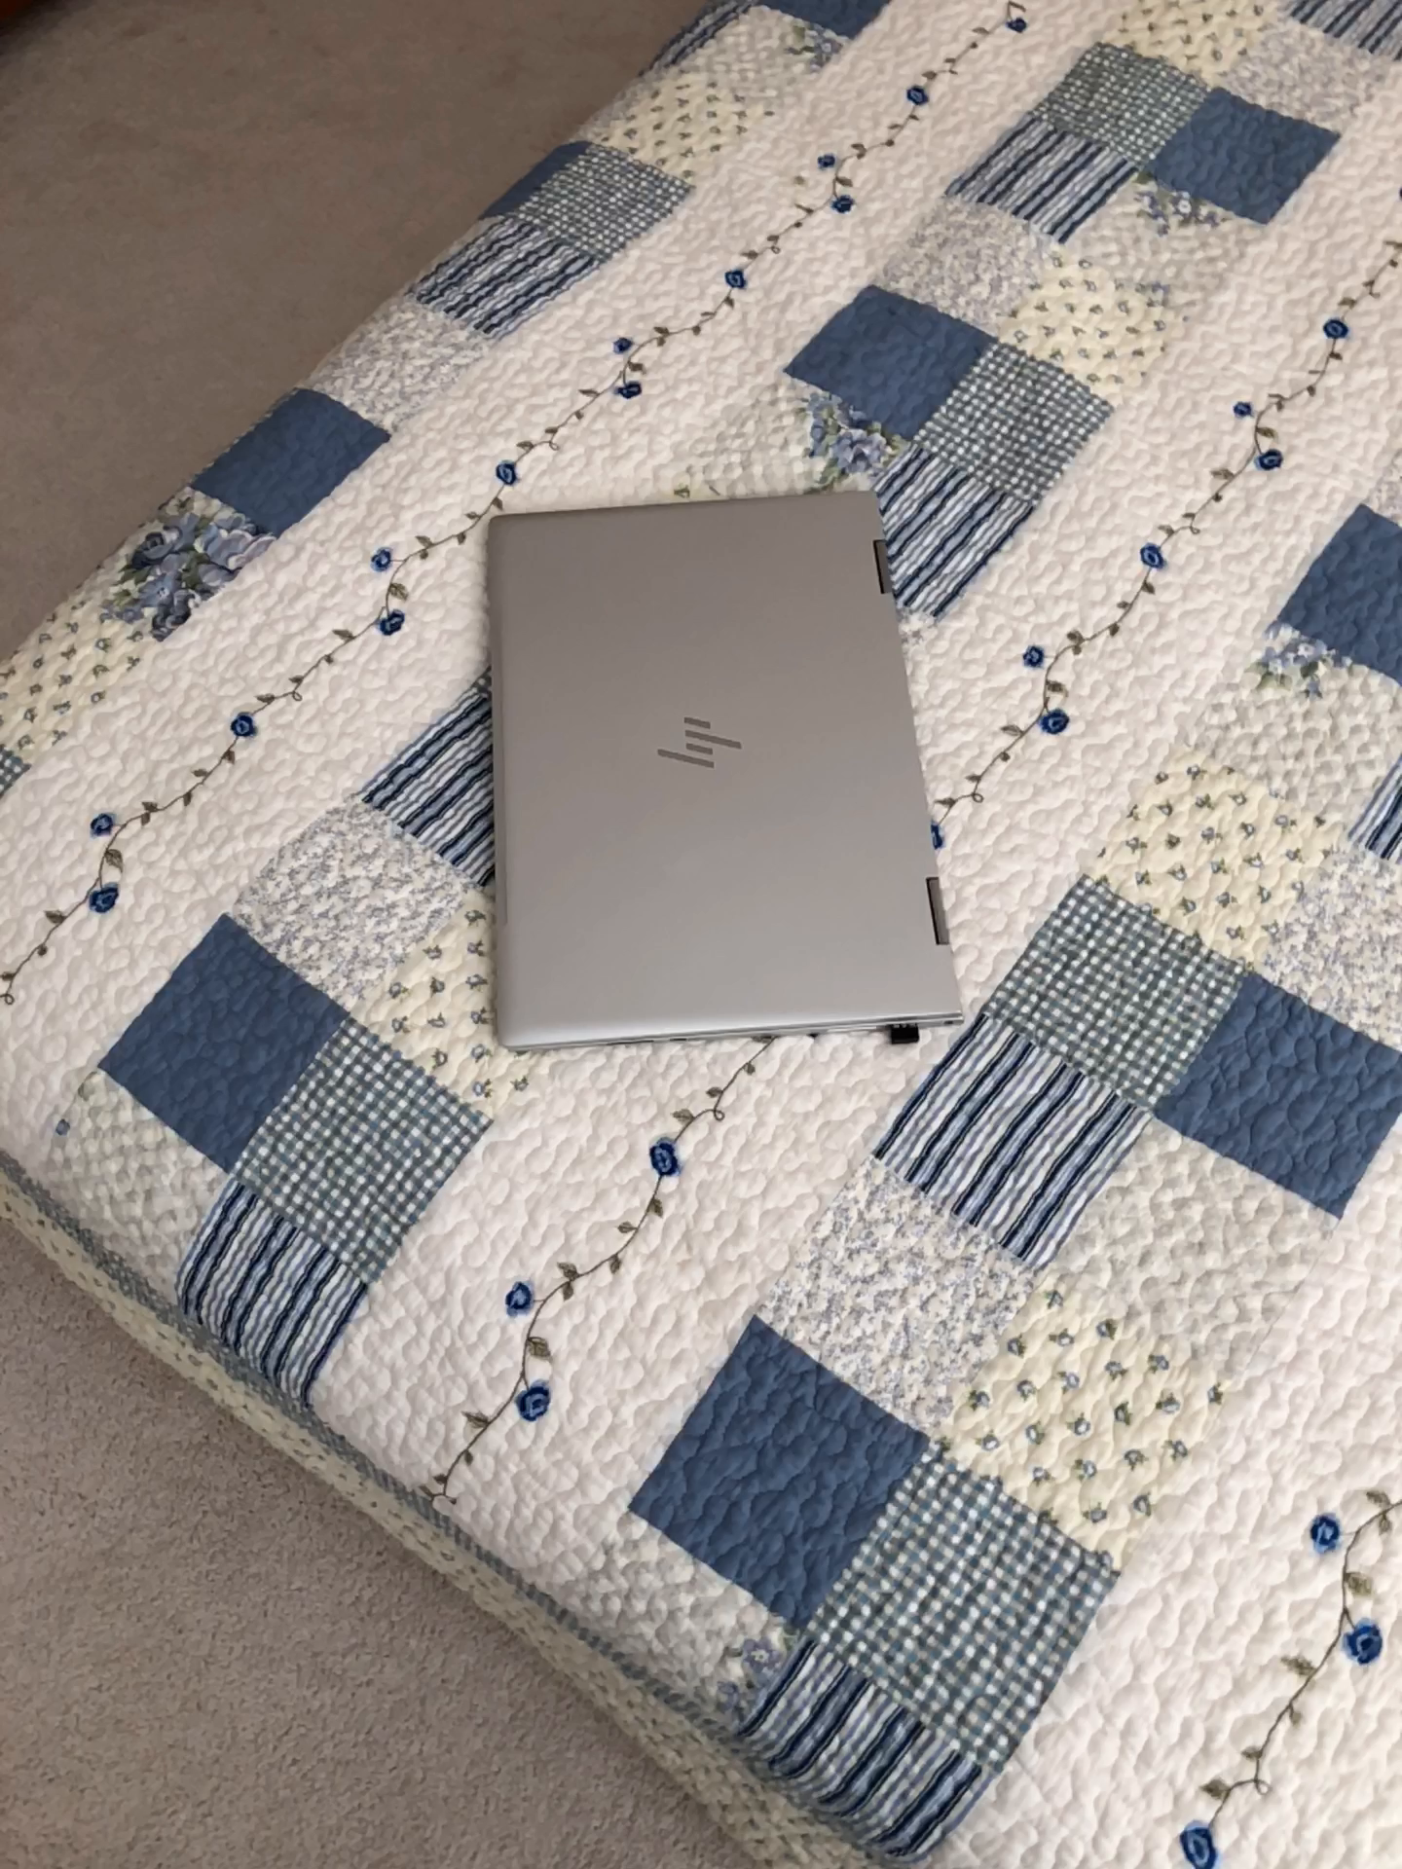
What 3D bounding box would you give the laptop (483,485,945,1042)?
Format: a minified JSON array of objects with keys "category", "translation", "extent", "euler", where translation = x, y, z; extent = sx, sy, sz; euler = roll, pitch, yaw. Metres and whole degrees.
[{"category":"laptop","translation":[-0.004,-0.123,0.965],"extent":[0.256,0.011,0.386],"euler":[-4,63,-3]}]
